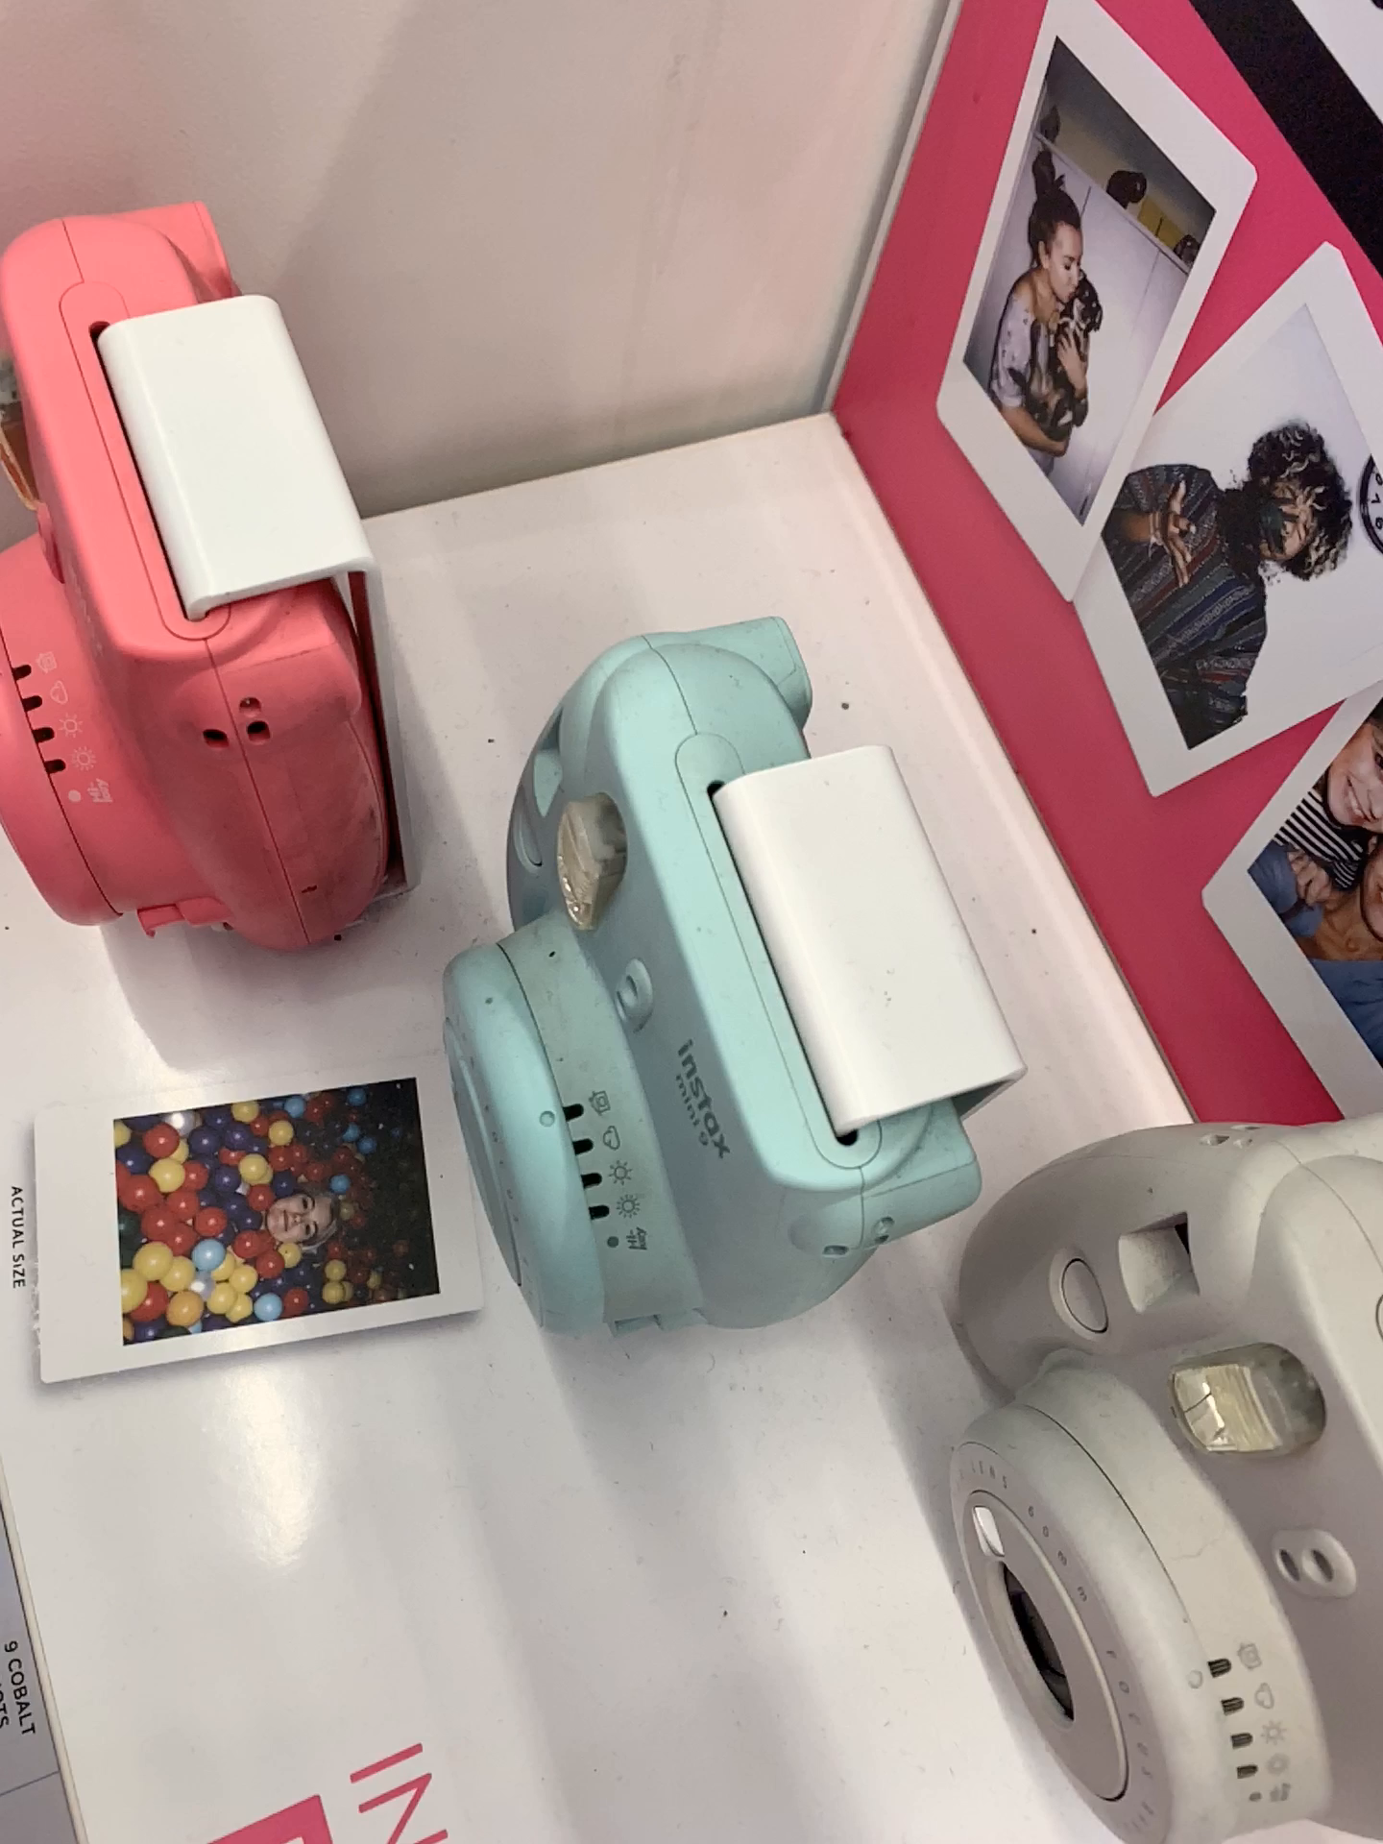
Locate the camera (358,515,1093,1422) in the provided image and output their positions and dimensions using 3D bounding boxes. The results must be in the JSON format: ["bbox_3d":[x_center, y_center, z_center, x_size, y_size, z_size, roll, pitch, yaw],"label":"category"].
[{"bbox_3d":[-0.007,0.019,0.254,0.070,0.129,0.110,-14,71,-14],"label":"camera"}]
